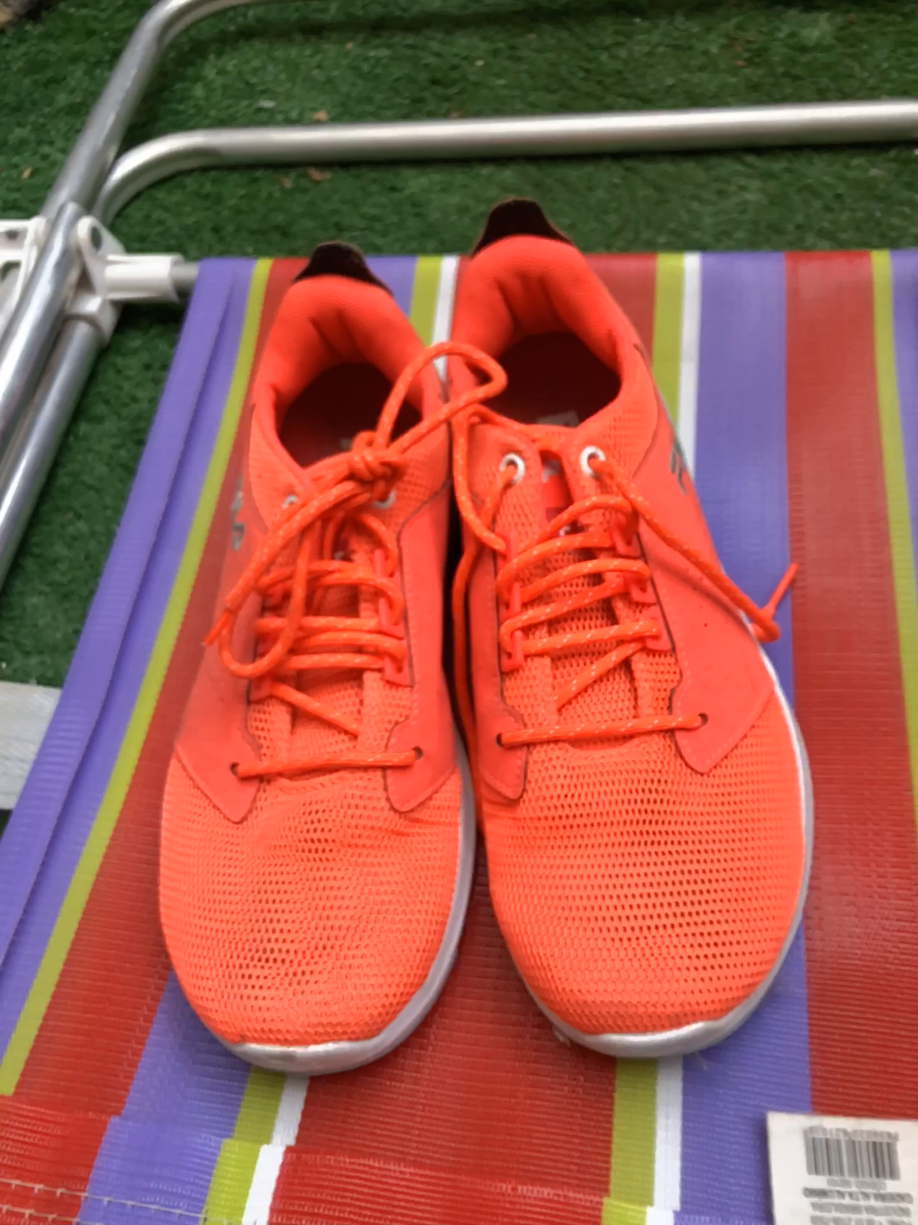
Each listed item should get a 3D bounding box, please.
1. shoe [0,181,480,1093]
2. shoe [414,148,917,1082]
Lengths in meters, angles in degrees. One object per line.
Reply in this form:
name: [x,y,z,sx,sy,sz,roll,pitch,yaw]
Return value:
shoe: [-0.047,0.001,0.285,0.100,0.100,0.231,-1,59,4]
shoe: [0.049,-0.009,0.301,0.100,0.090,0.251,-8,59,7]
